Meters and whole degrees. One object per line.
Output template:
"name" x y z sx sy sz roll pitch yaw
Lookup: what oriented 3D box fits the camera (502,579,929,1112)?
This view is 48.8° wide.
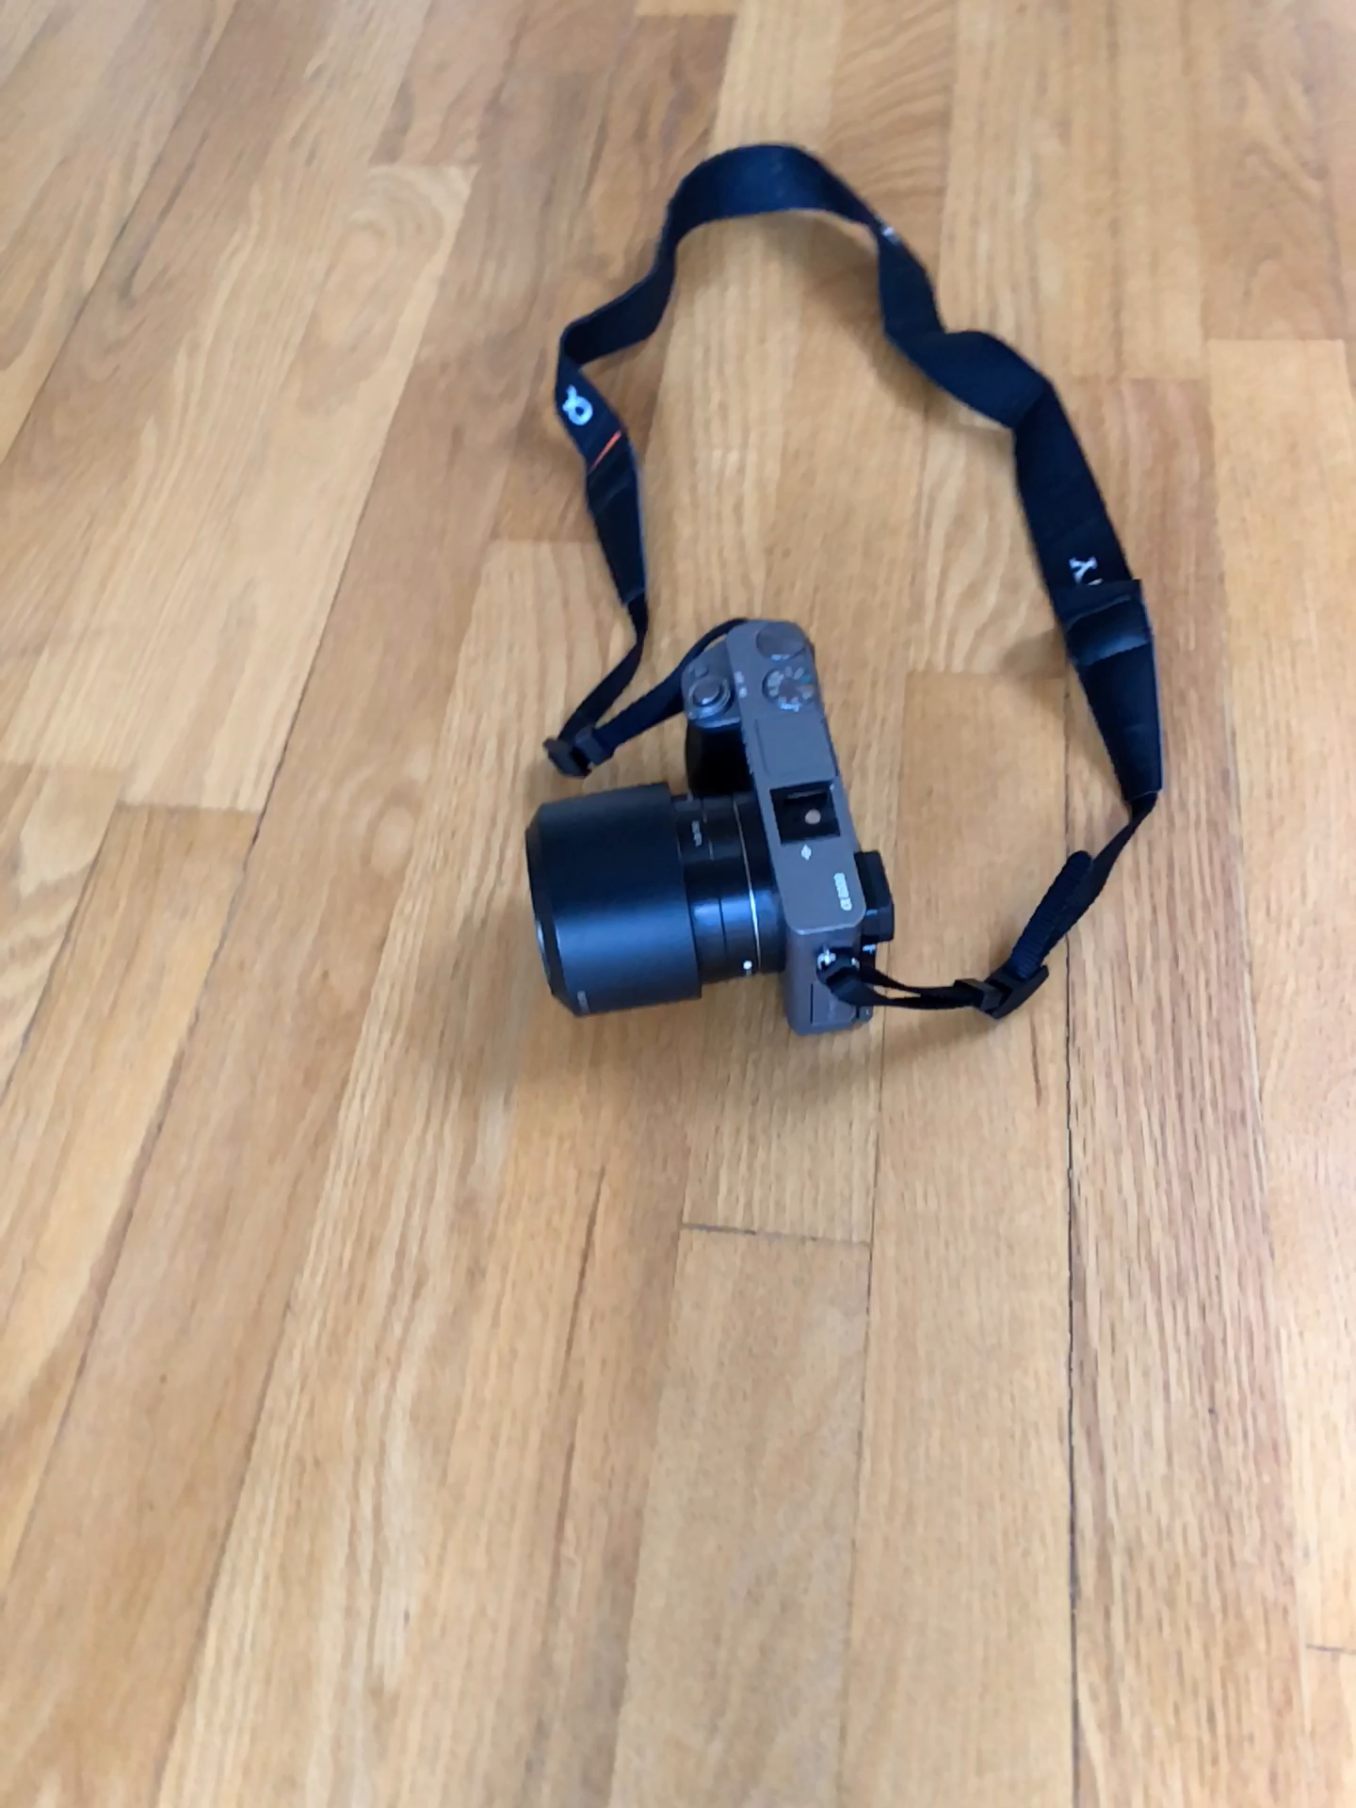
"camera" 0.009 -0.020 0.483 0.106 0.079 0.136 -10 58 -2
